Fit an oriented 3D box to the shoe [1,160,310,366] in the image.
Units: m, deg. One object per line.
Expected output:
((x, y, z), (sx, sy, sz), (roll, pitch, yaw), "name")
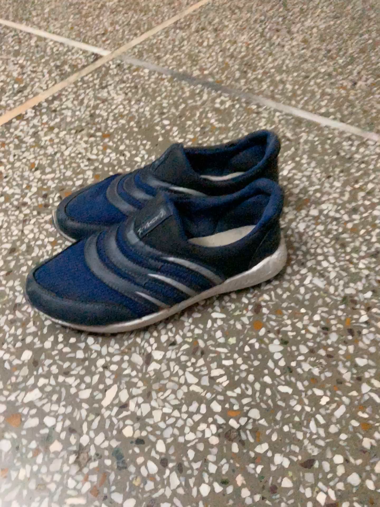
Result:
((-0.032, 0.003, 0.415), (0.280, 0.096, 0.104), (-18, 52, -14), "shoe")

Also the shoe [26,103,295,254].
((-0.035, -0.095, 0.467), (0.283, 0.080, 0.104), (-13, 52, -10), "shoe")
